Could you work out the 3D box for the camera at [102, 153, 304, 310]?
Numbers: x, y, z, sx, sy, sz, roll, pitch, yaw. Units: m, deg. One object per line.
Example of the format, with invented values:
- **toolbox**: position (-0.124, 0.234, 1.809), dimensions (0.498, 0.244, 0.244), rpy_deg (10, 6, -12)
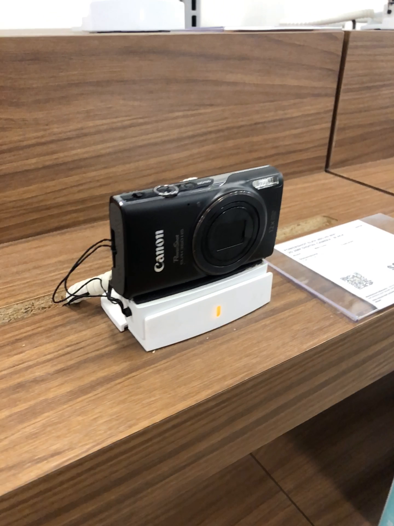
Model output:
- **camera**: position (0.006, -0.020, 0.238), dimensions (0.110, 0.060, 0.020), rpy_deg (-16, 36, -29)
